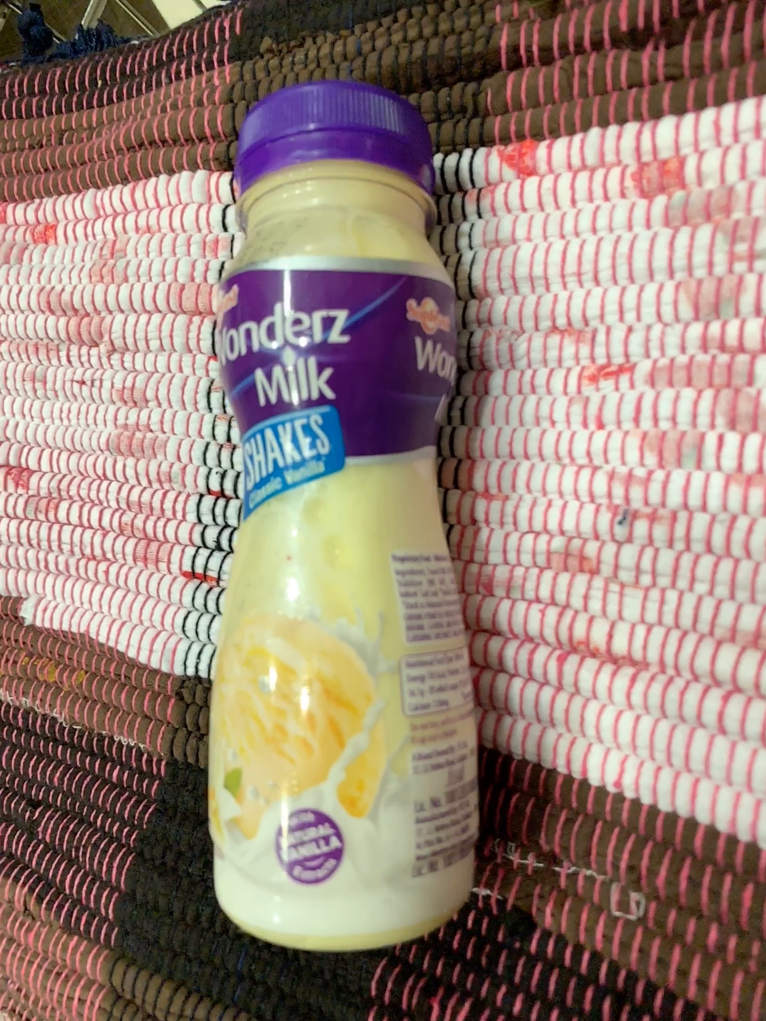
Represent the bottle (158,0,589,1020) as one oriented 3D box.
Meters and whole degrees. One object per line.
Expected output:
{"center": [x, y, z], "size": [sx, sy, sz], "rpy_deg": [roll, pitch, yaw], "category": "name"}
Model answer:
{"center": [-0.002, -0.001, 0.149], "size": [0.060, 0.050, 0.160], "rpy_deg": [-4, 85, 36], "category": "bottle"}
